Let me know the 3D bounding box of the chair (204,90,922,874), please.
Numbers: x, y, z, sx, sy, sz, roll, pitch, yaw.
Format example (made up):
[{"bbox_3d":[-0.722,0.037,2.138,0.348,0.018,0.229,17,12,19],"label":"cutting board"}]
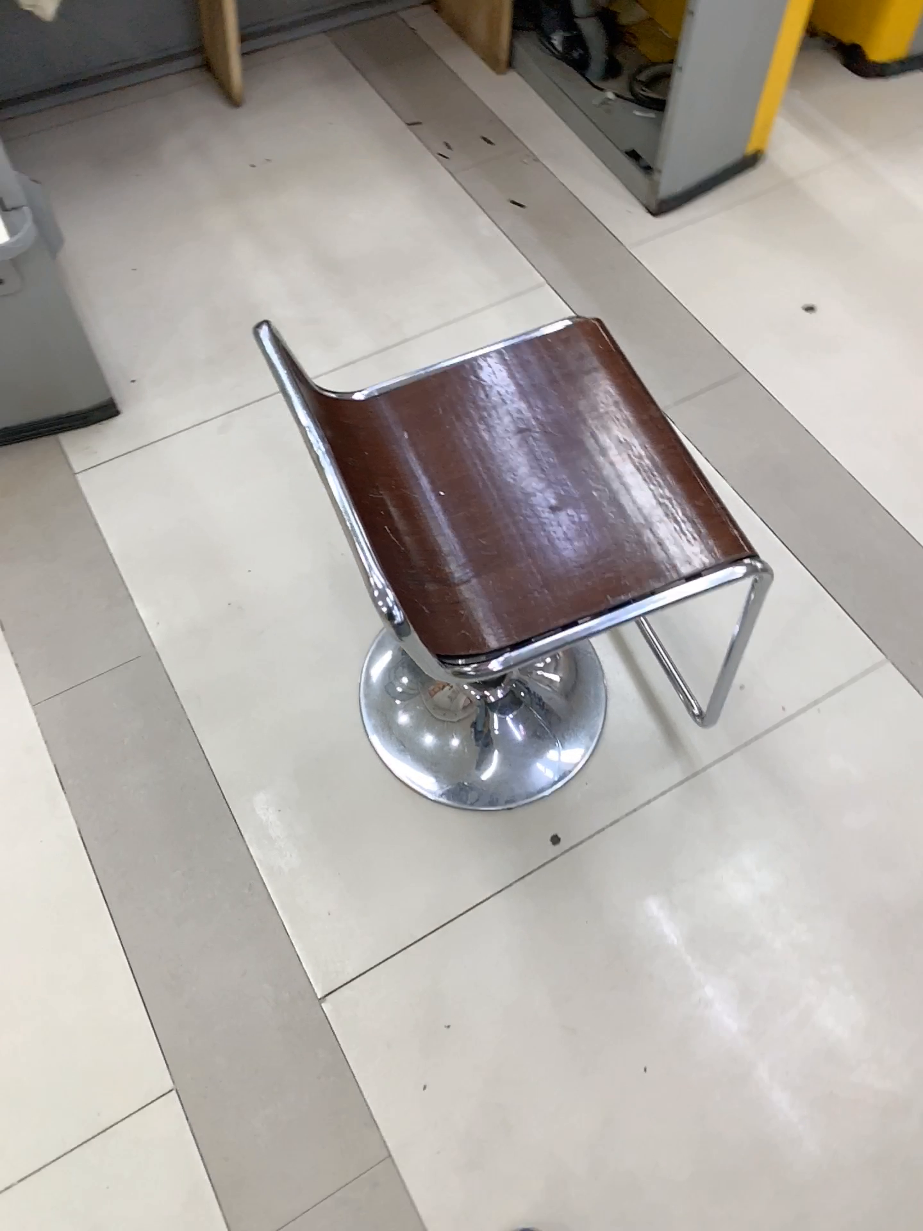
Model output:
[{"bbox_3d":[0.073,-0.091,1.090,0.480,0.706,0.442,-20,62,-12],"label":"chair"}]
